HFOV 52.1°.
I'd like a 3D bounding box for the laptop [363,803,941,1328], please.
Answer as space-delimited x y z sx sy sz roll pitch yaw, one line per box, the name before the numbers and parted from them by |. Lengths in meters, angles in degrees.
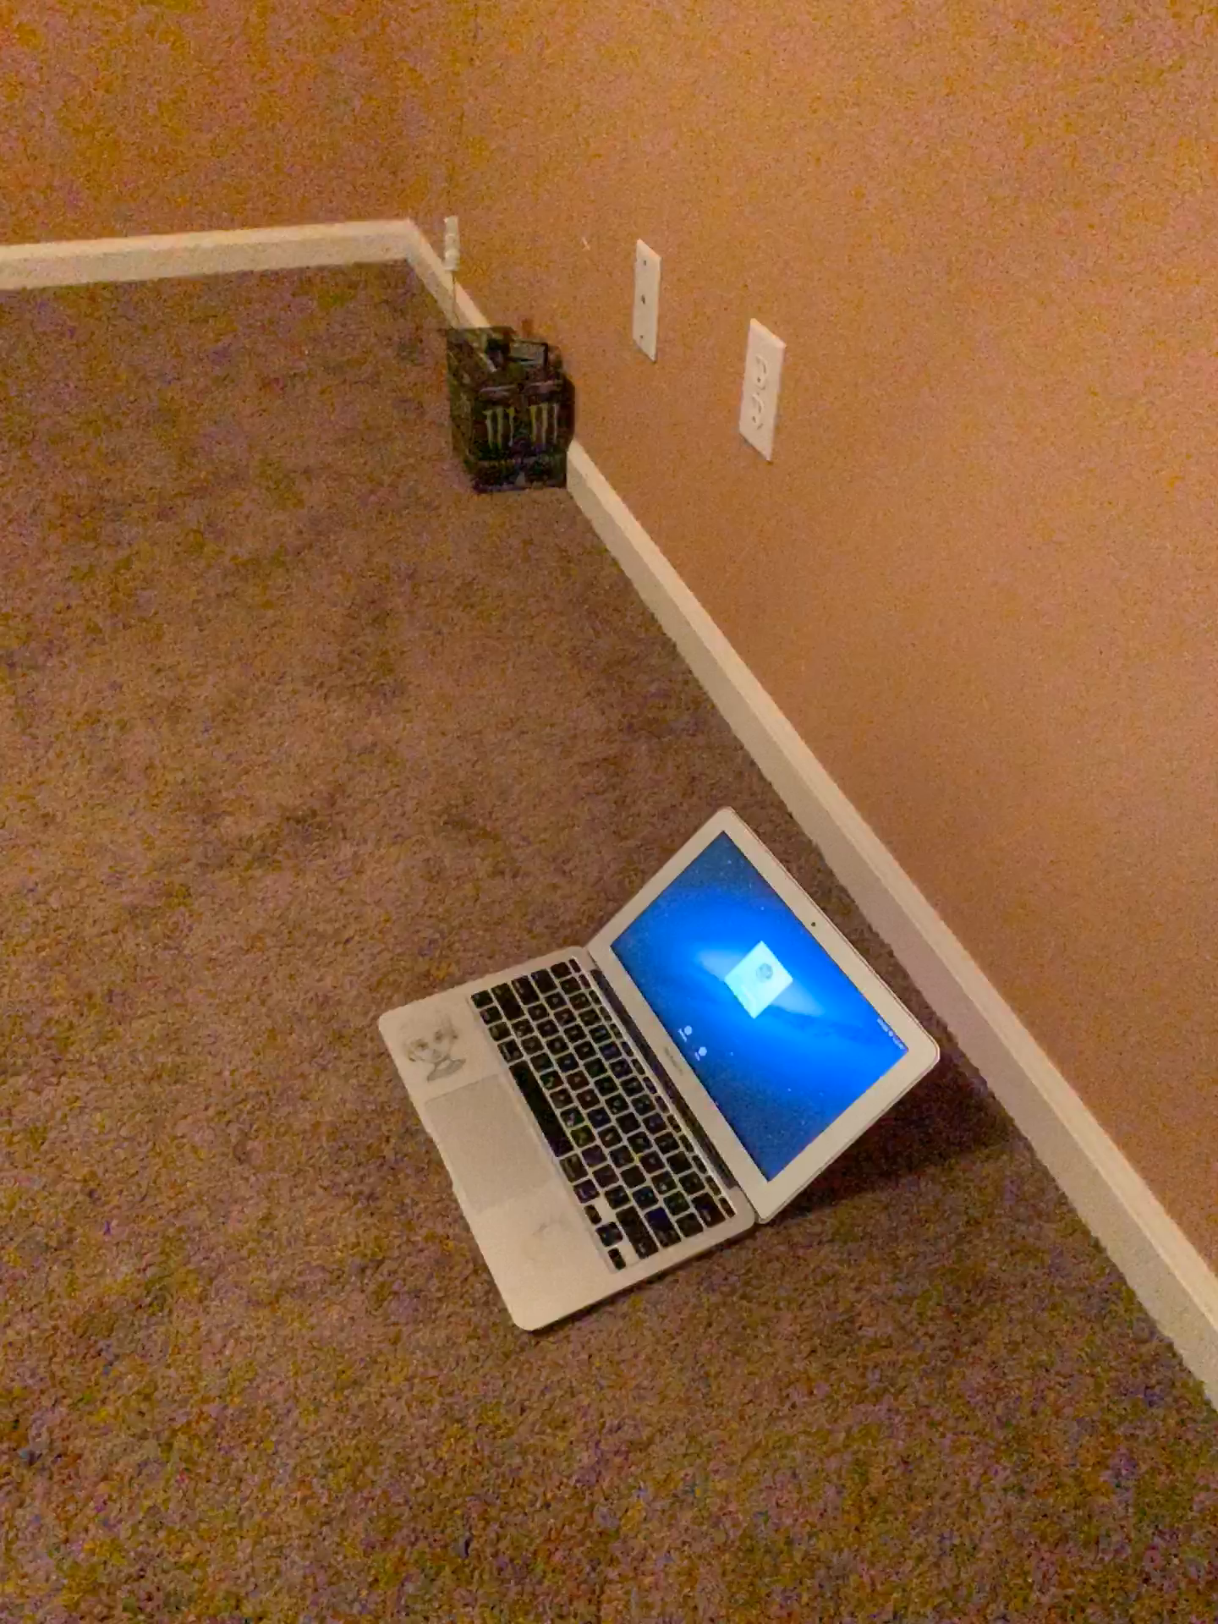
laptop | 0.021 0.170 0.958 0.324 0.116 0.300 -17 45 -21
